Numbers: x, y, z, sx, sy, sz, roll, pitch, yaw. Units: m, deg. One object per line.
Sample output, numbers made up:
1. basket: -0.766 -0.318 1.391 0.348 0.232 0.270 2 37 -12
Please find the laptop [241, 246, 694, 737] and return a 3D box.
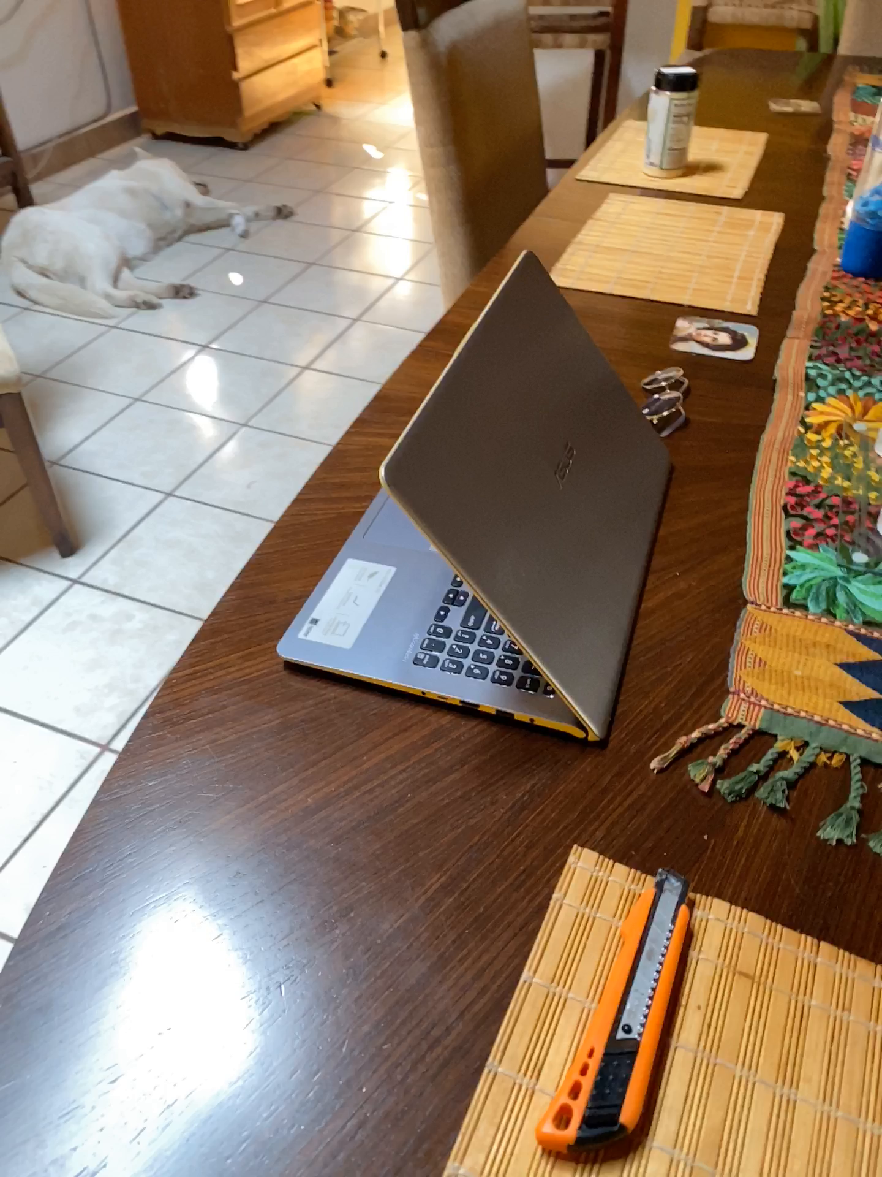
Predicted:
1. laptop: 0.046 -0.109 0.743 0.250 0.181 0.378 12 43 13
